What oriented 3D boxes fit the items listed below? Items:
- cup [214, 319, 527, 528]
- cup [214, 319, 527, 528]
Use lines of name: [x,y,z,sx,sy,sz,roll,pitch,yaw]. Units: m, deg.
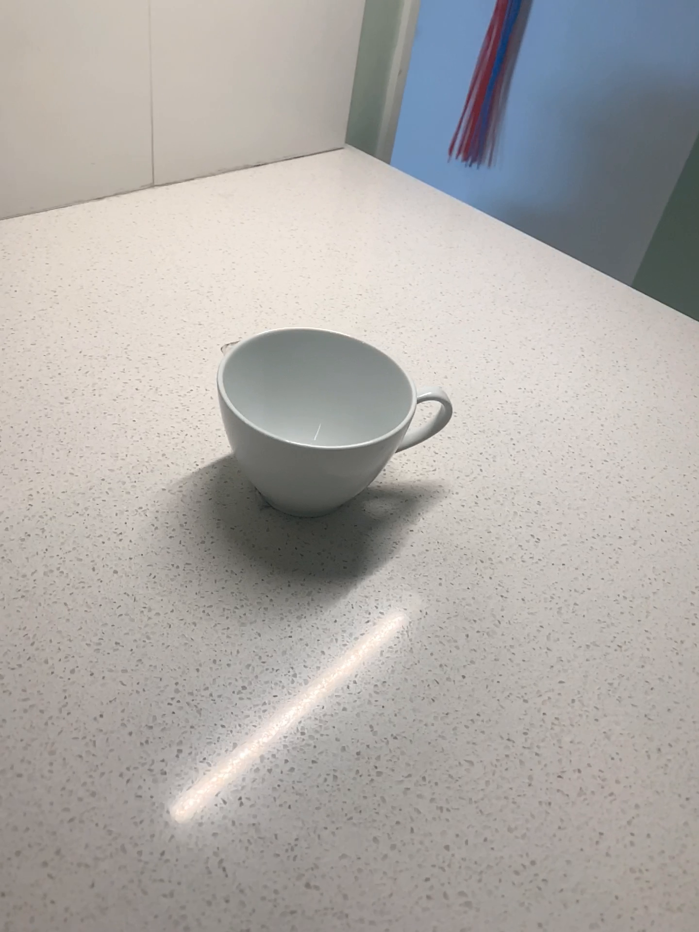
cup: [0.003,-0.023,0.349,0.130,0.050,0.090,-1,44,-14]
cup: [0.003,-0.023,0.349,0.130,0.050,0.090,-1,44,-14]
